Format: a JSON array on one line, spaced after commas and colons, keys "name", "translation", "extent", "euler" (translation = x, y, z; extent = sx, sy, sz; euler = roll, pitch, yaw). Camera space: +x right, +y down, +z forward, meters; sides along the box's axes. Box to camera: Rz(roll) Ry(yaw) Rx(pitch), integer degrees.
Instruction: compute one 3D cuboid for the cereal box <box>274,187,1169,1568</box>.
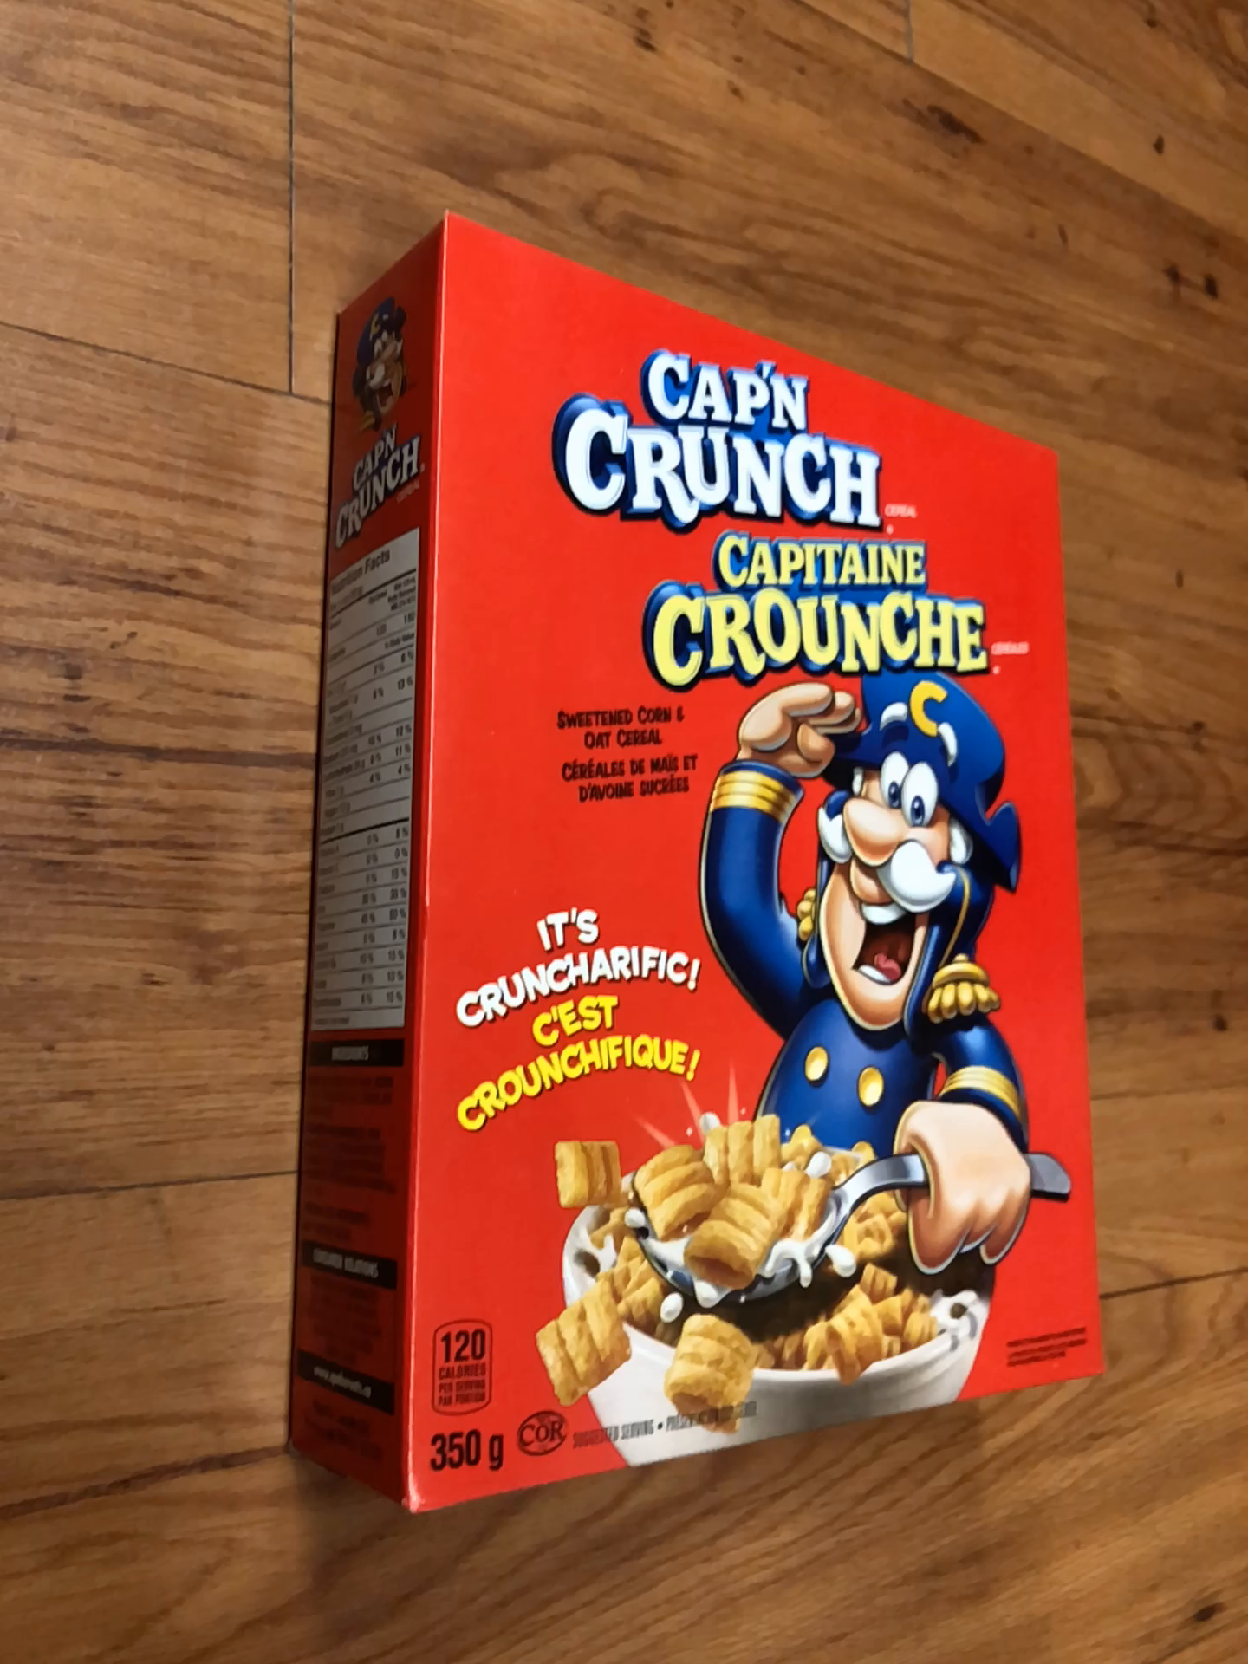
[{"name": "cereal box", "translation": [0.036, 0.012, 0.345], "extent": [0.221, 0.060, 0.260], "euler": [7, 78, -35]}]
